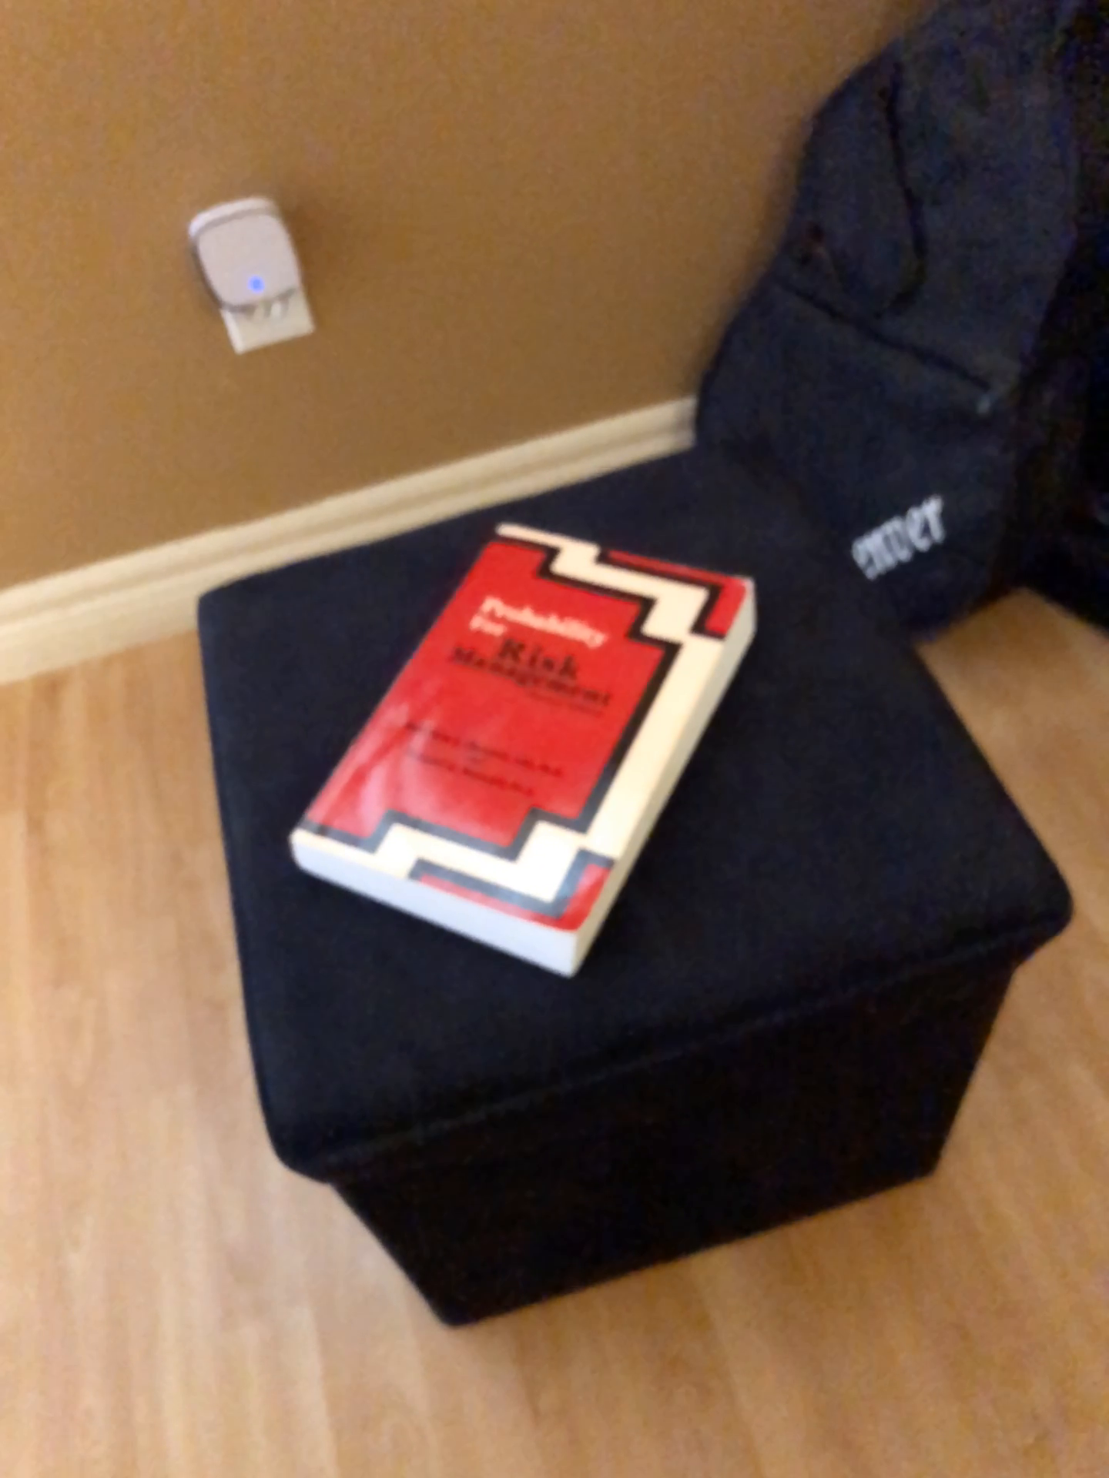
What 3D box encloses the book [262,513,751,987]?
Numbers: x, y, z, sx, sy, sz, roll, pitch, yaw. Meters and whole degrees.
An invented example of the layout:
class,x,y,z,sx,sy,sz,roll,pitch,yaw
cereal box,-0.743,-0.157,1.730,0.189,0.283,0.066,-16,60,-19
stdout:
class,x,y,z,sx,sy,sz,roll,pitch,yaw
book,-0.015,-0.007,0.601,0.150,0.042,0.215,18,57,20
